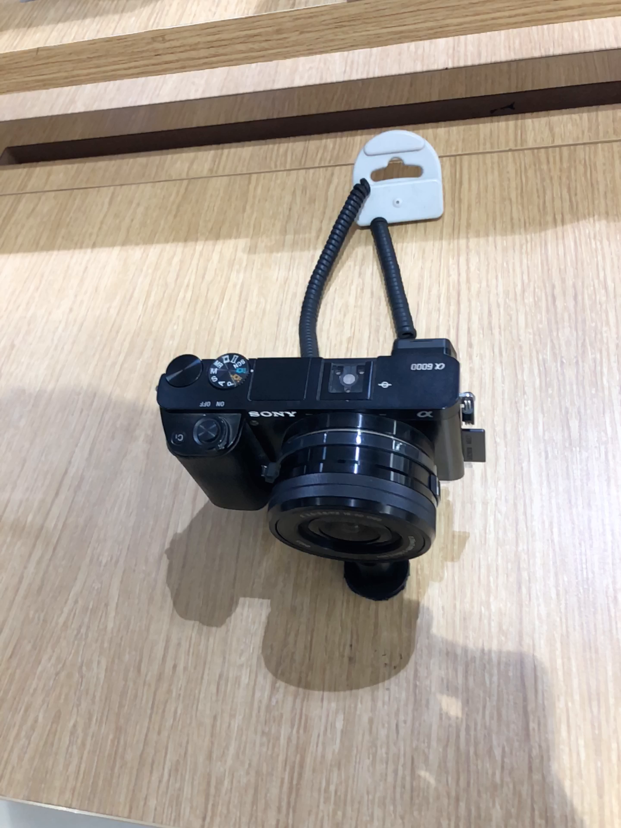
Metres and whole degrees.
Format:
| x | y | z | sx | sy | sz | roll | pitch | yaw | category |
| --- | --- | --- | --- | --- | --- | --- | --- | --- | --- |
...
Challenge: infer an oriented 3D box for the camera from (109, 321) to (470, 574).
| x | y | z | sx | sy | sz | roll | pitch | yaw | category |
| --- | --- | --- | --- | --- | --- | --- | --- | --- | --- |
| 0.000 | 0.015 | 0.243 | 0.107 | 0.070 | 0.059 | -1 | 59 | 13 | camera |
